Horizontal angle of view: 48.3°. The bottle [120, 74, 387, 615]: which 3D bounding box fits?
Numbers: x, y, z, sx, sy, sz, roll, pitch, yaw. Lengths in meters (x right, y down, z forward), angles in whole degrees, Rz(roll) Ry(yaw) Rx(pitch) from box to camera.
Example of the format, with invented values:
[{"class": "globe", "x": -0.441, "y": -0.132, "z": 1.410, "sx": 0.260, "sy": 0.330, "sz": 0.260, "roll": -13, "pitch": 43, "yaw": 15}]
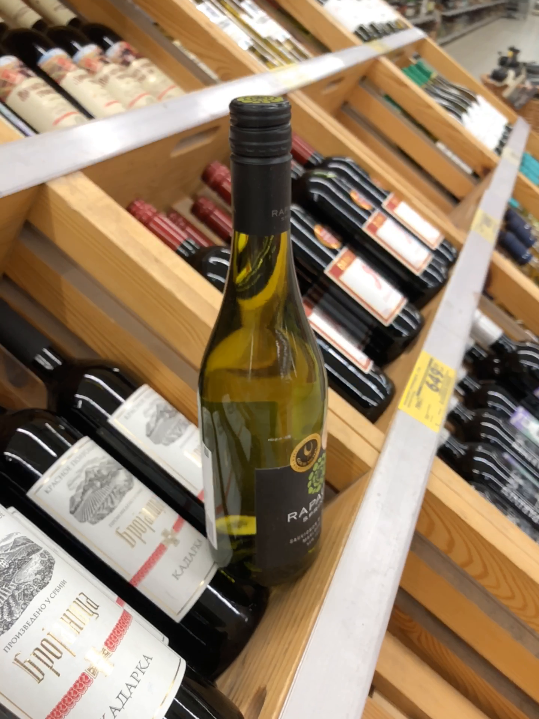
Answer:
[{"class": "bottle", "x": -0.004, "y": 0.001, "z": 0.347, "sx": 0.090, "sy": 0.288, "sz": 0.090, "roll": 0, "pitch": 31, "yaw": 0}]
